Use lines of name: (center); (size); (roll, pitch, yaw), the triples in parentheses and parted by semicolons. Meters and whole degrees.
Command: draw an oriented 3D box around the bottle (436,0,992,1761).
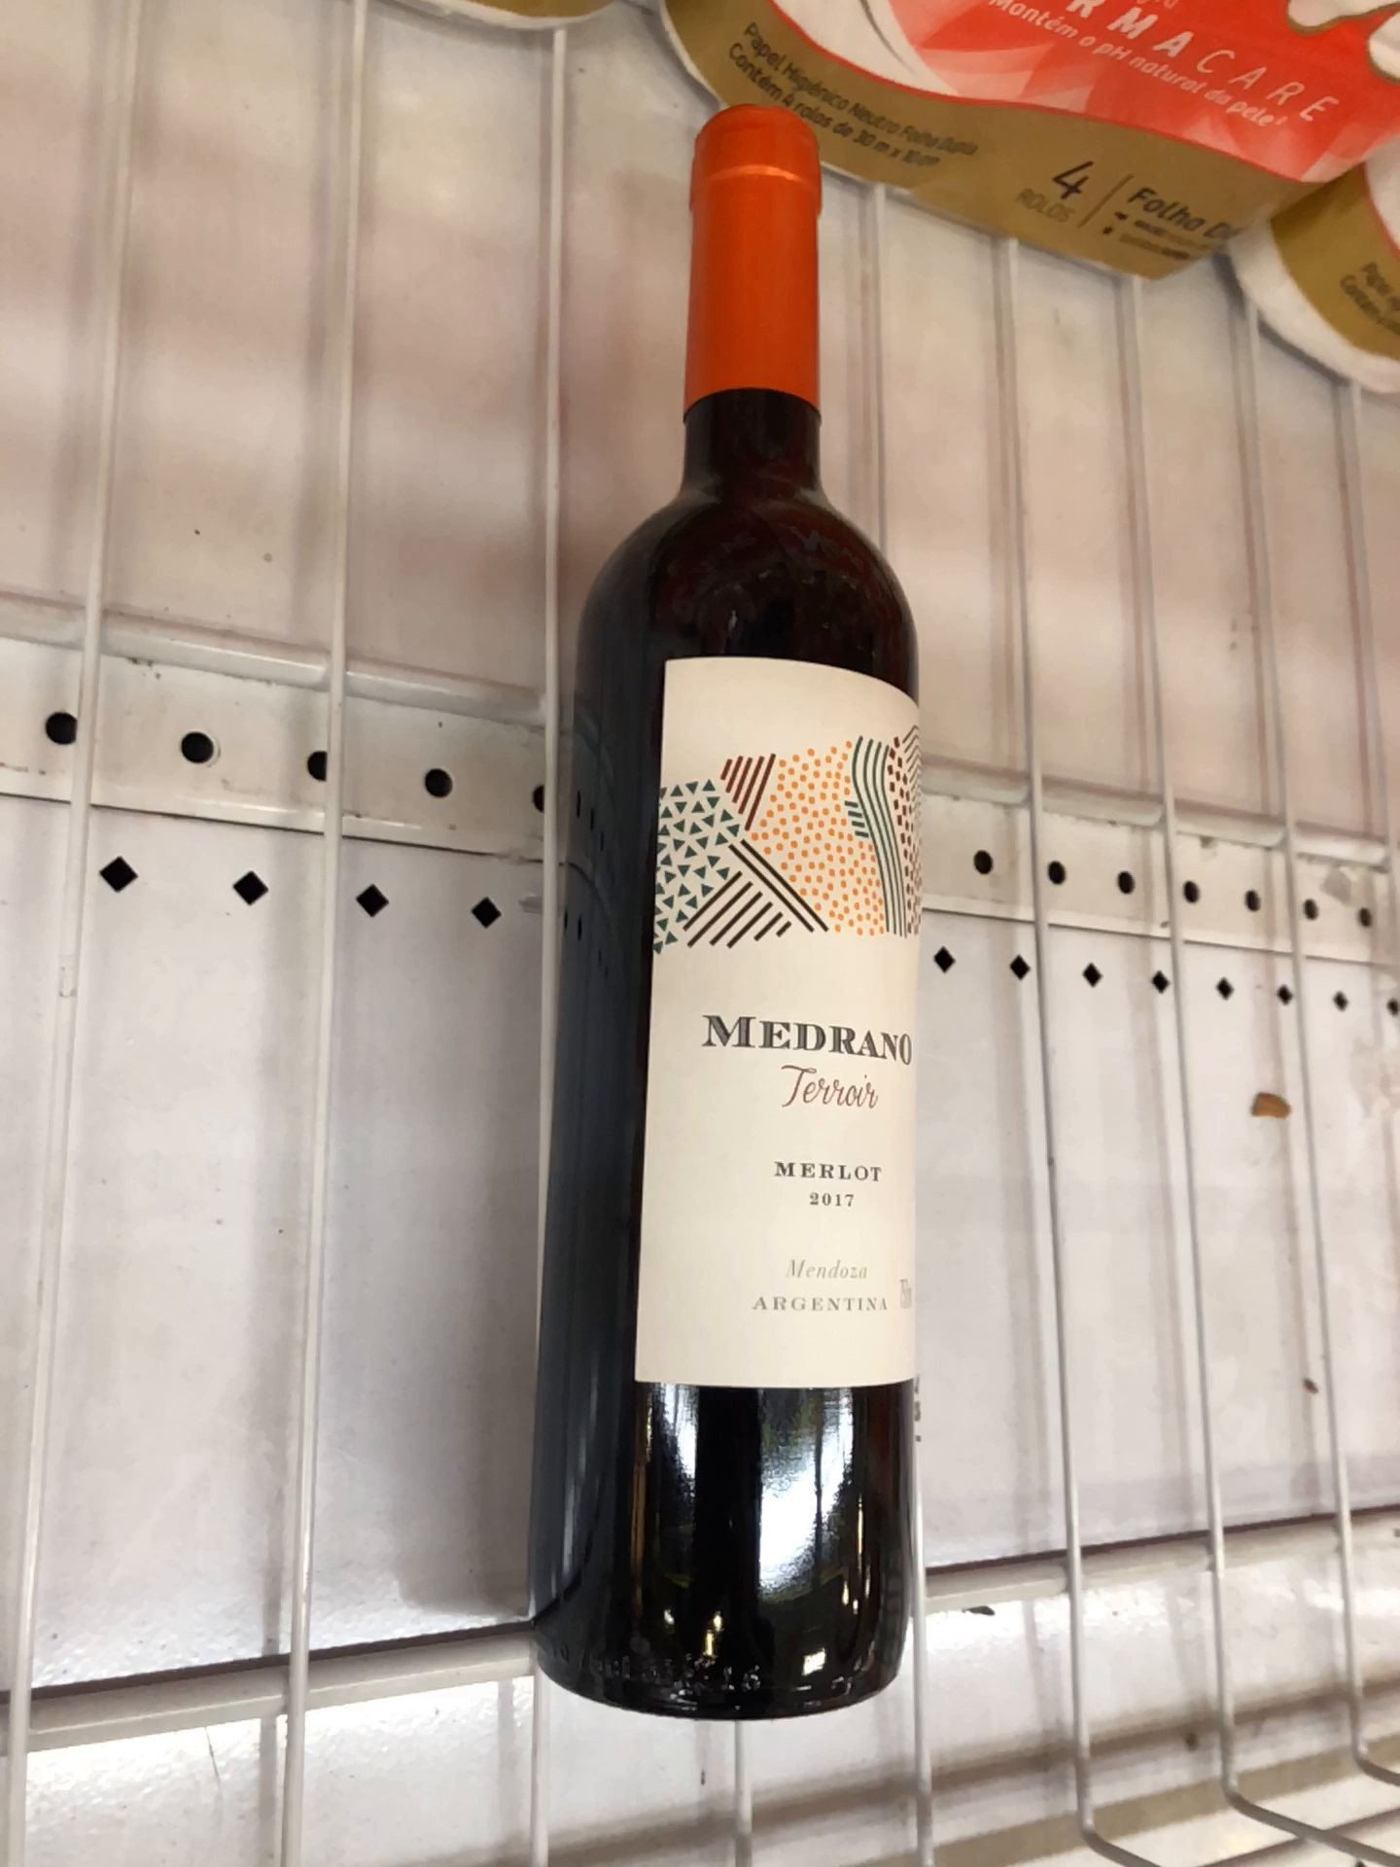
bottle: (0.003, -0.023, 0.324); (0.080, 0.070, 0.330); (7, 77, -29)
